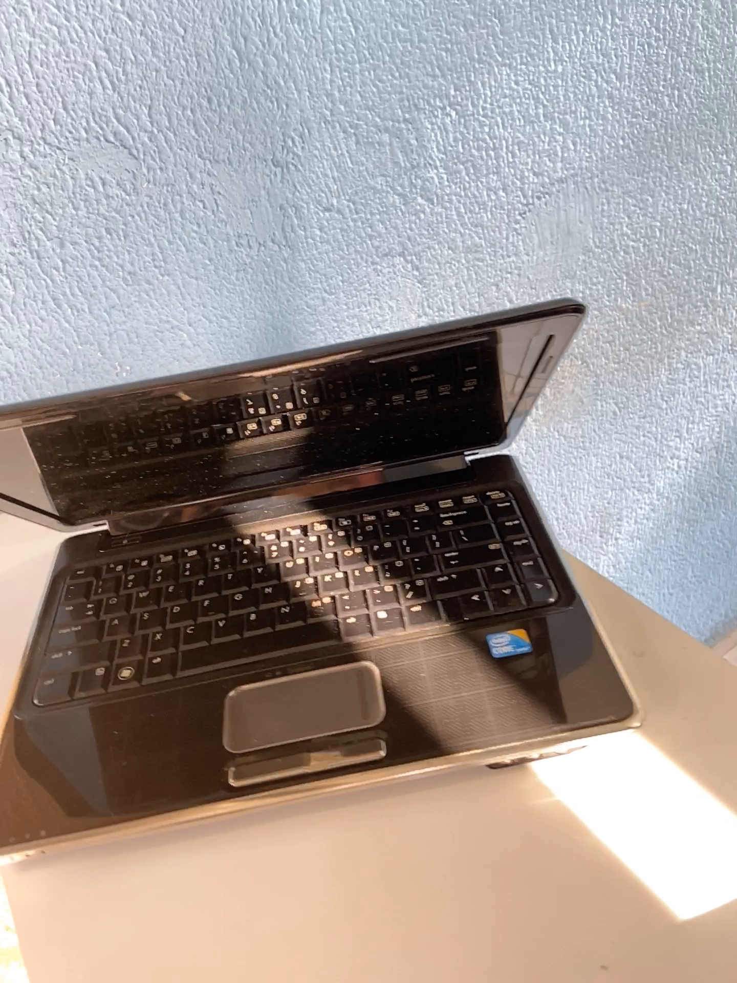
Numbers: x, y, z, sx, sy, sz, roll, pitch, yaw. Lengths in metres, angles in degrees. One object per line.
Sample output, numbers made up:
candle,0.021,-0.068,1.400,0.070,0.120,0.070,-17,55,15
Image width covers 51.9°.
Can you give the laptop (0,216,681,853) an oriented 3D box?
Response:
laptop,-0.052,0.004,0.399,0.325,0.165,0.226,-11,37,0
